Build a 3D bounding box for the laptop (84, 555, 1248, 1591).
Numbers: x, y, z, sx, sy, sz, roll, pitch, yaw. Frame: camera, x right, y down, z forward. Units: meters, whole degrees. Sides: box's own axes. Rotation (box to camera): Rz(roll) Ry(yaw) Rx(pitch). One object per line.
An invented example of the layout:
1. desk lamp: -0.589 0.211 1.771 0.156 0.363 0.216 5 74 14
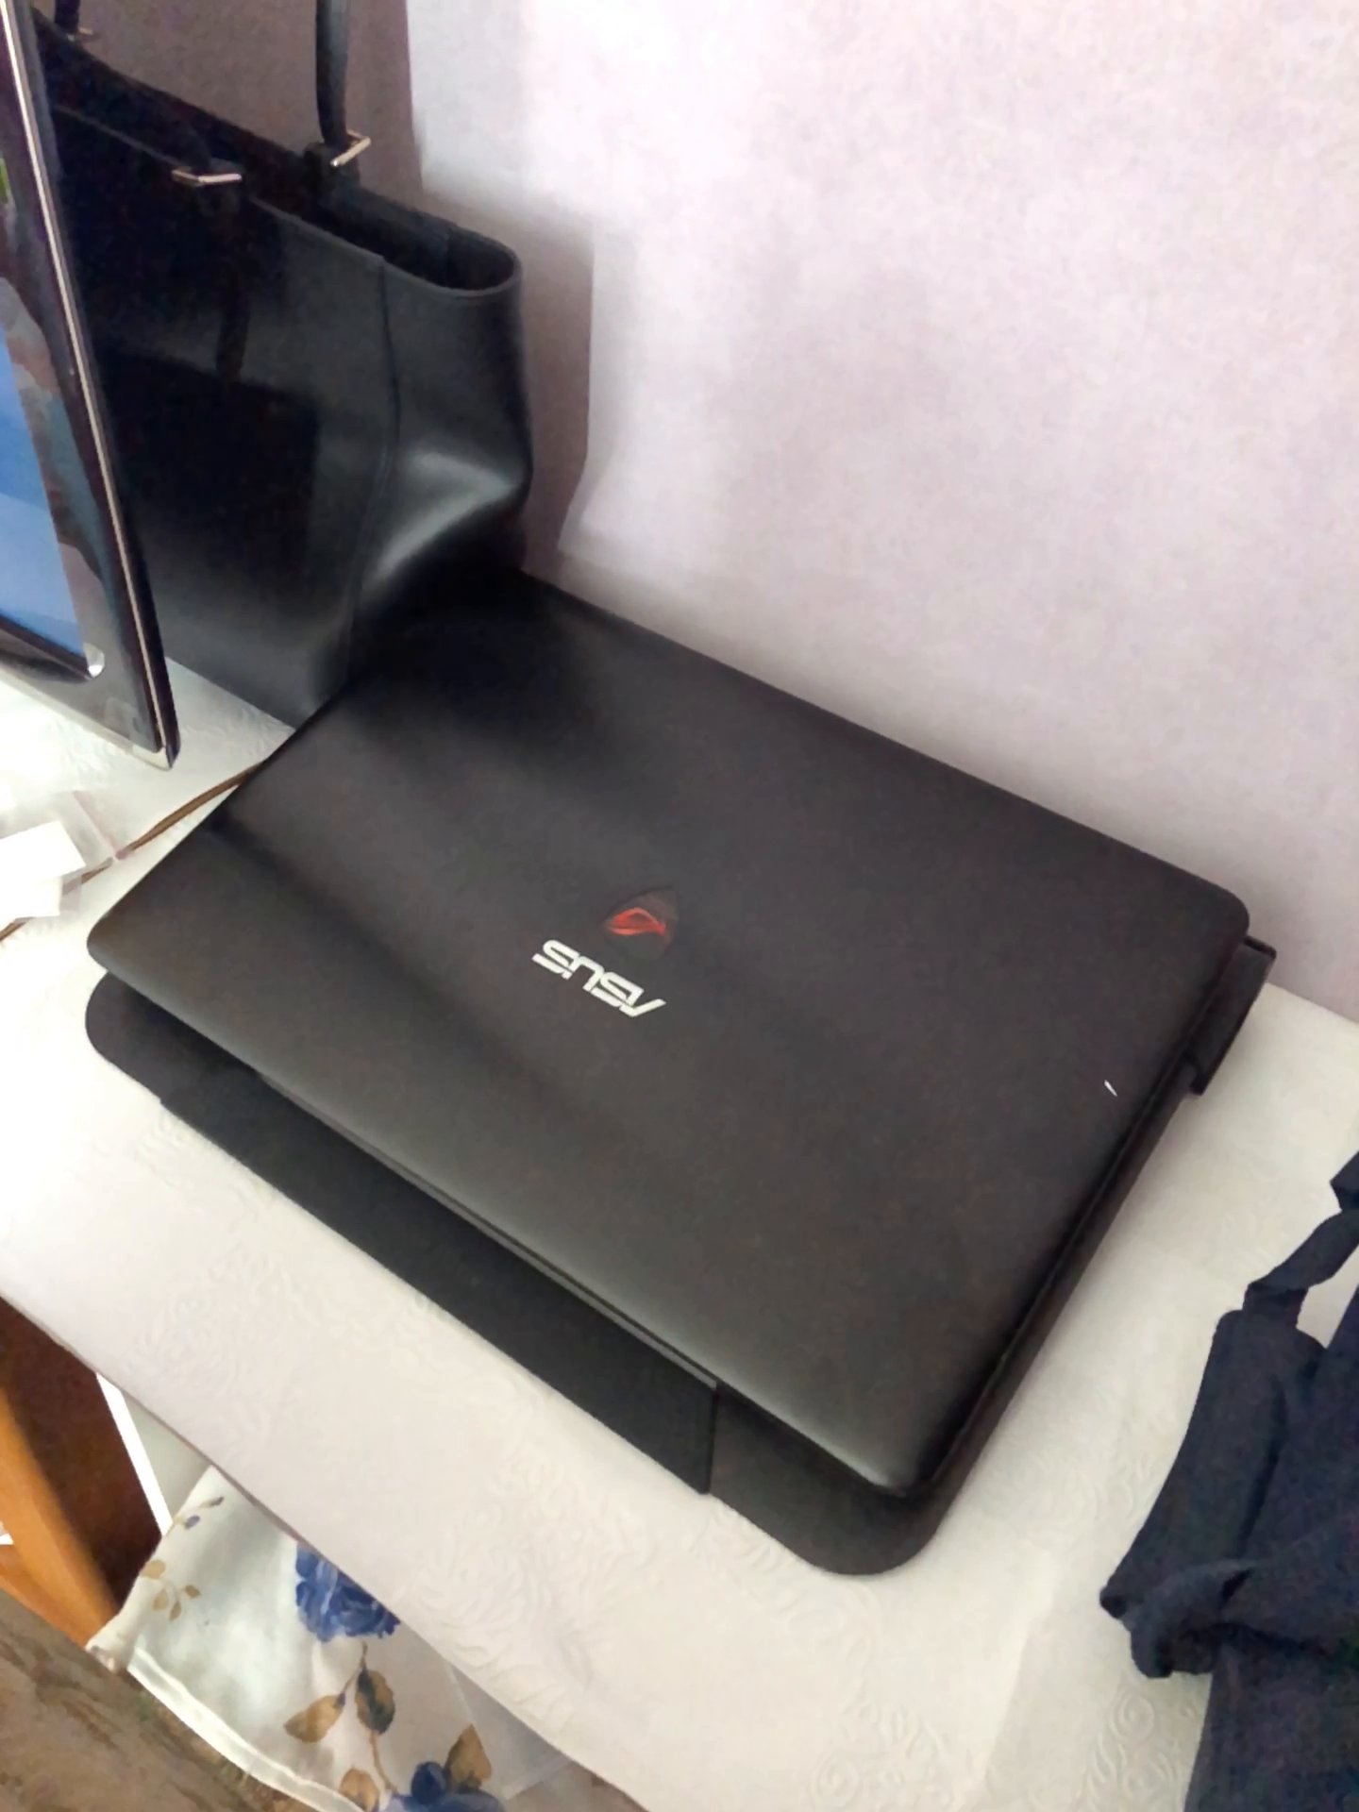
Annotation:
1. laptop: -0.014 0.027 0.616 0.395 0.060 0.267 27 60 23
